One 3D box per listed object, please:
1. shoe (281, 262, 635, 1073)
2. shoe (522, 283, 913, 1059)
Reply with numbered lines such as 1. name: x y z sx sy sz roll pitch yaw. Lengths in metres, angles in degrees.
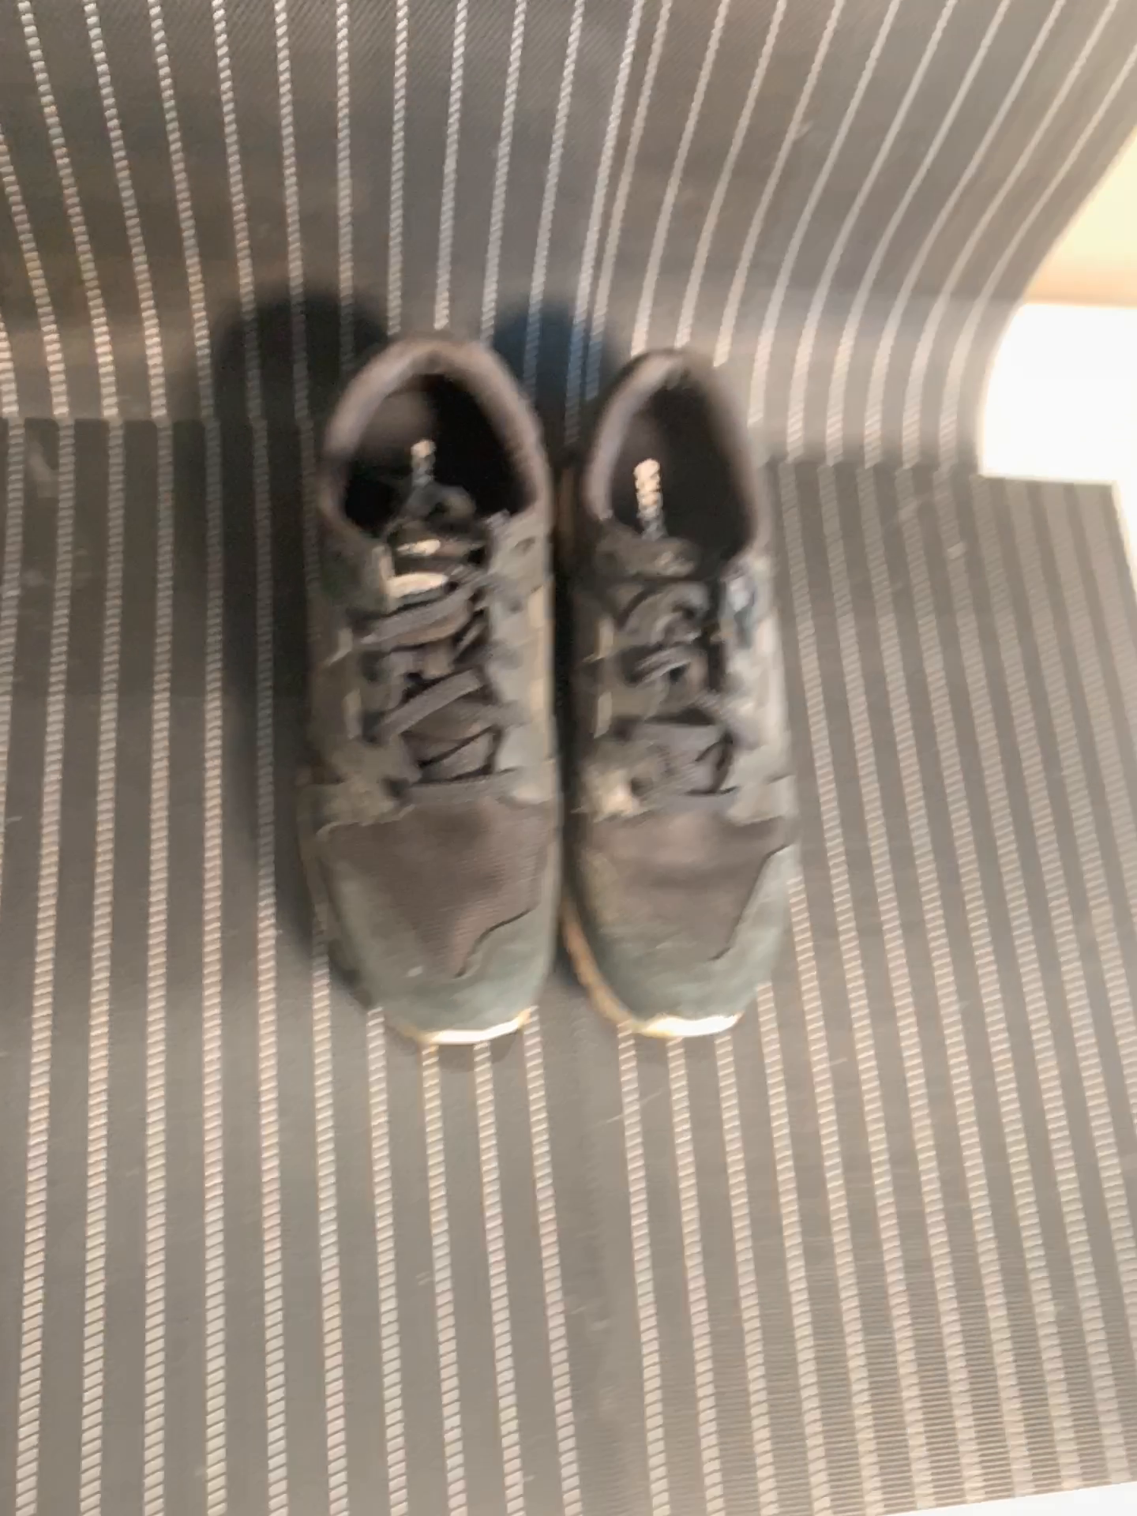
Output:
1. shoe: -0.053 -0.037 0.464 0.110 0.090 0.300 -1 72 -12
2. shoe: 0.049 -0.036 0.484 0.110 0.090 0.300 0 72 -11
